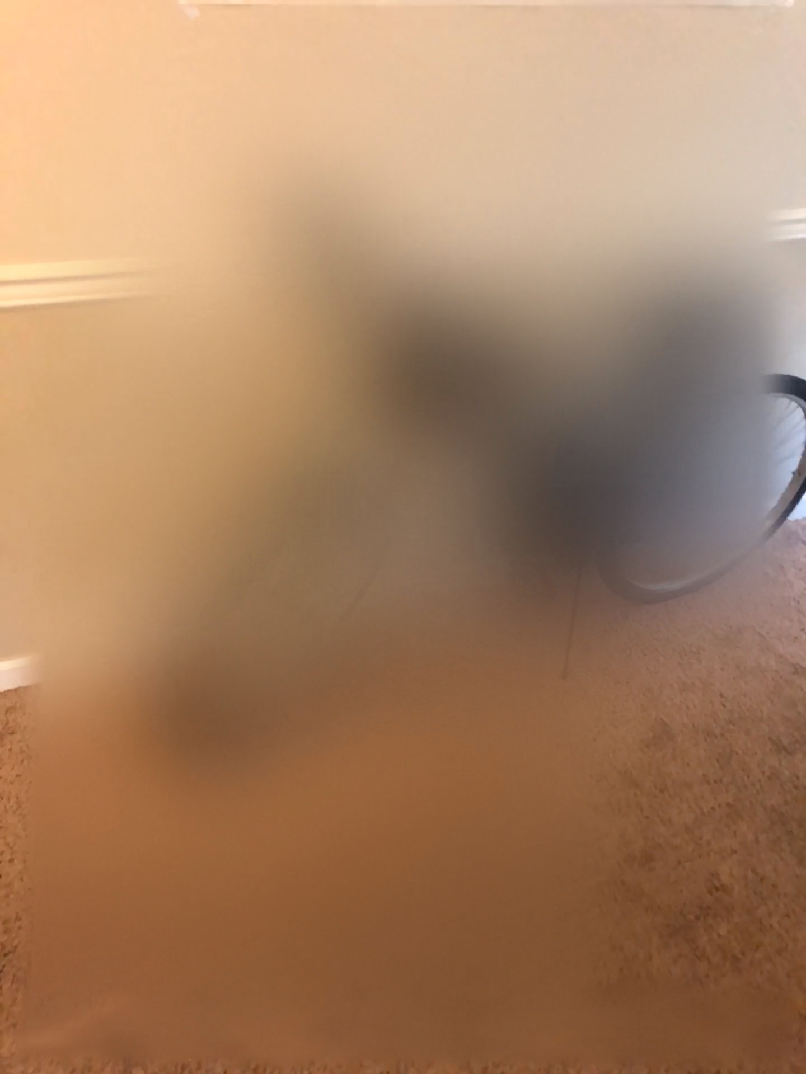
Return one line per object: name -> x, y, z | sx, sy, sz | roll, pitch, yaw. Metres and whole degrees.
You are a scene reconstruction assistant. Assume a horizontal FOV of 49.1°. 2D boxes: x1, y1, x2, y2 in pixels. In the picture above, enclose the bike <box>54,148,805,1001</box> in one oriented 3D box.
bike -> 0.385, -0.088, 1.920 | 1.868, 1.177, 0.681 | -17, 35, -25
